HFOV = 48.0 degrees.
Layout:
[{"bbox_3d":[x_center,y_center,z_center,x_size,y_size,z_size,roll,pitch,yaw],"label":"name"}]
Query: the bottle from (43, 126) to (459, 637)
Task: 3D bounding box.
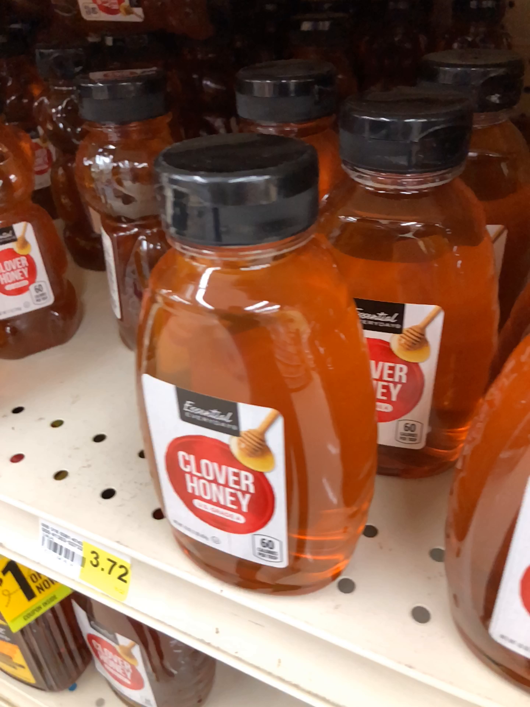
[{"bbox_3d":[0.003,0.008,0.181,0.083,0.130,0.060,12,38,23],"label":"bottle"}]
